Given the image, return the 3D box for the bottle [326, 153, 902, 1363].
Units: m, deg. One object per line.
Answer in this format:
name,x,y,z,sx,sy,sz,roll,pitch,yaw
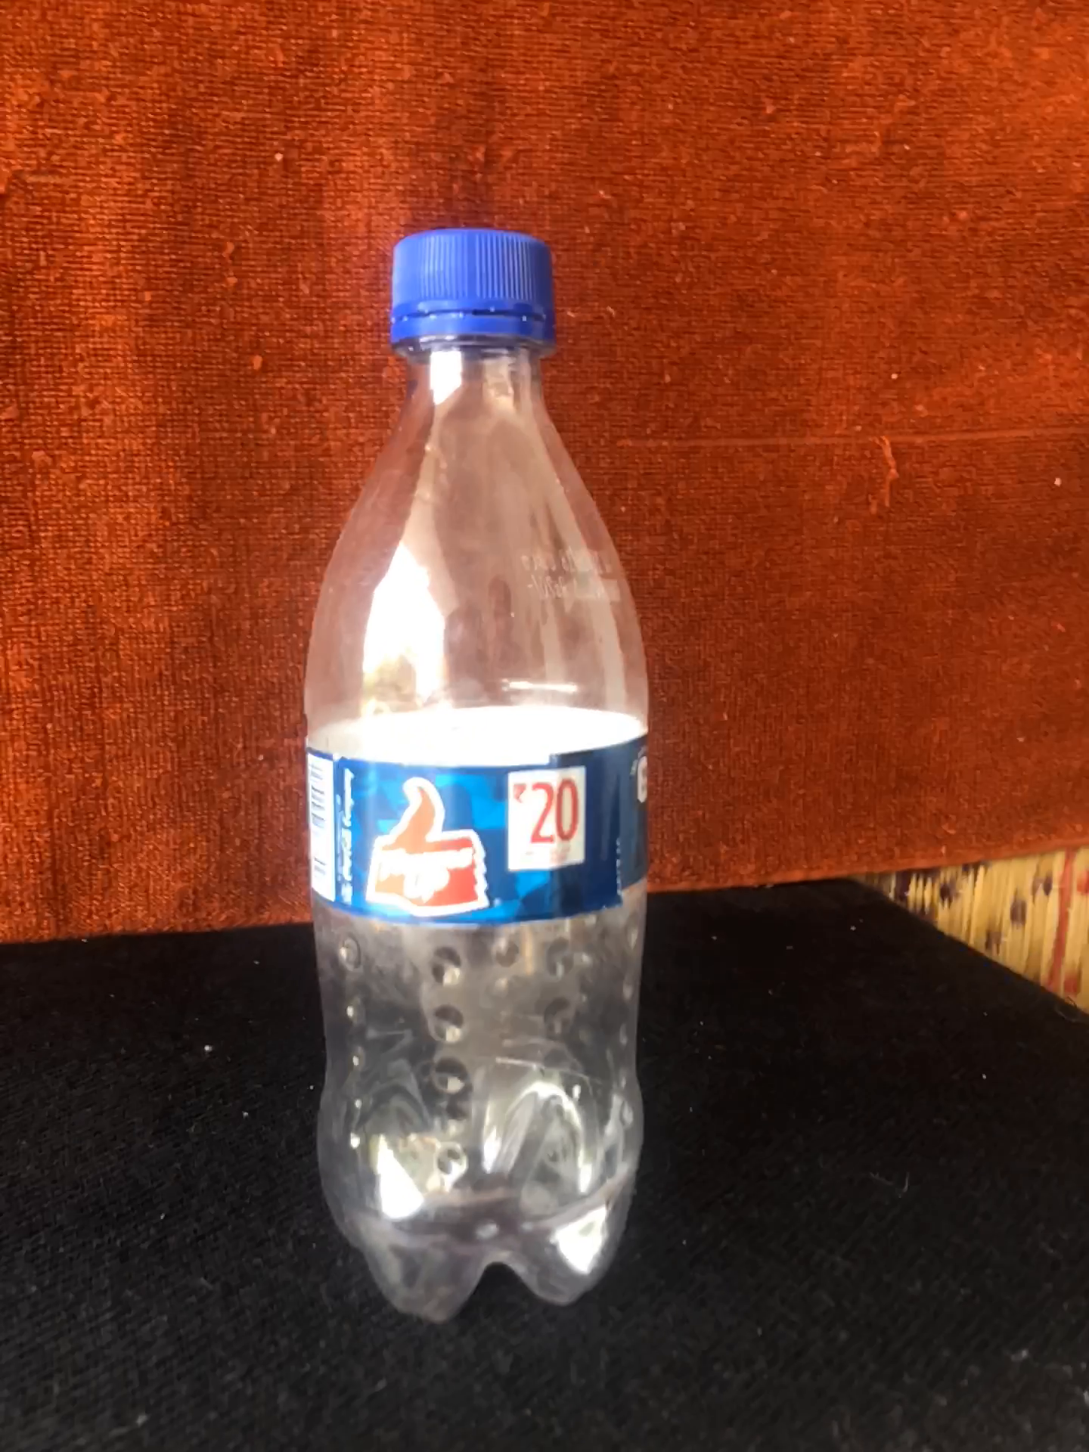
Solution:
bottle,0.003,0.004,0.168,0.060,0.140,0.050,-1,12,-16
